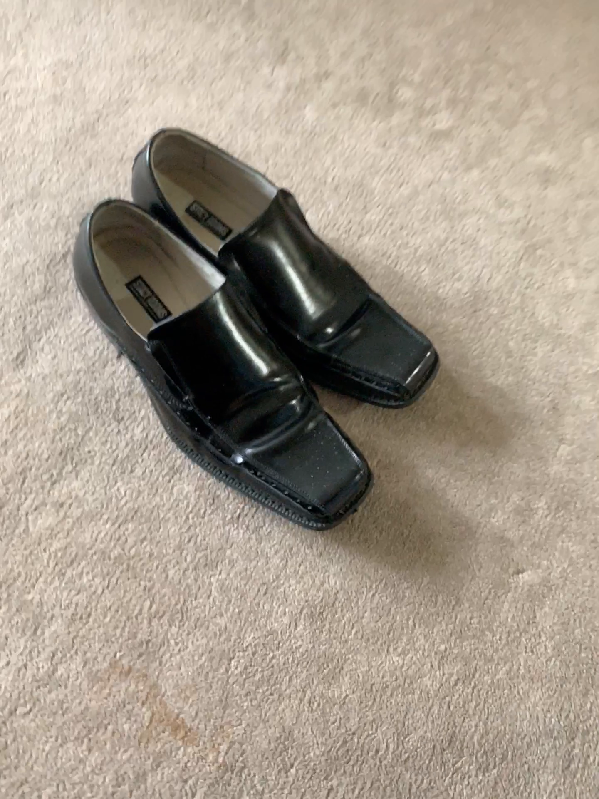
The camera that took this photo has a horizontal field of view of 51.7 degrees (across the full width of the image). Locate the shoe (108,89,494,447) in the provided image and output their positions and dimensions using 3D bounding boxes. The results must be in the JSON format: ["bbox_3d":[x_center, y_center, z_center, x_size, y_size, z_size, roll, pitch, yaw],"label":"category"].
[{"bbox_3d":[-0.007,-0.112,0.548,0.310,0.119,0.110,39,69,7],"label":"shoe"}]

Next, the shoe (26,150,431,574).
[{"bbox_3d":[-0.063,-0.028,0.498,0.110,0.119,0.320,-38,78,-20],"label":"shoe"}]
